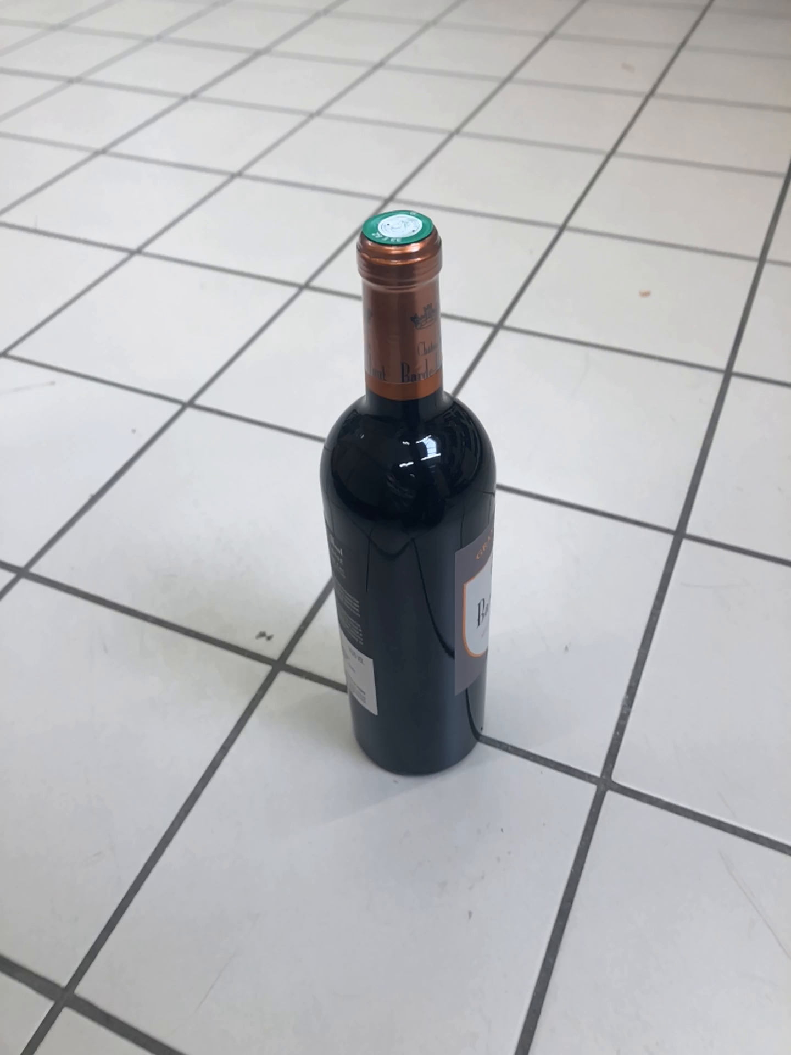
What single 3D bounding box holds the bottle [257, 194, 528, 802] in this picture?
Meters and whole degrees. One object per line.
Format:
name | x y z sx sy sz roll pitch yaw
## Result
bottle | 0.004 0.012 0.388 0.080 0.288 0.081 -2 45 2
